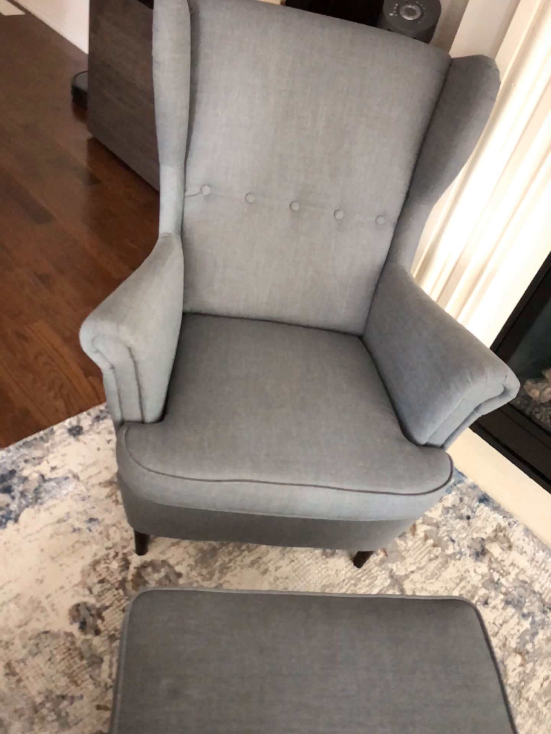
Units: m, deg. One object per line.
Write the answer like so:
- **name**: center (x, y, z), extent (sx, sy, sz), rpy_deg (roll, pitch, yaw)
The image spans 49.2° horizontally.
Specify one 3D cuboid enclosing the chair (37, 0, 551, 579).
- **chair**: center (0.016, -0.176, 1.322), extent (0.800, 0.966, 0.853), rpy_deg (6, 44, -11)
